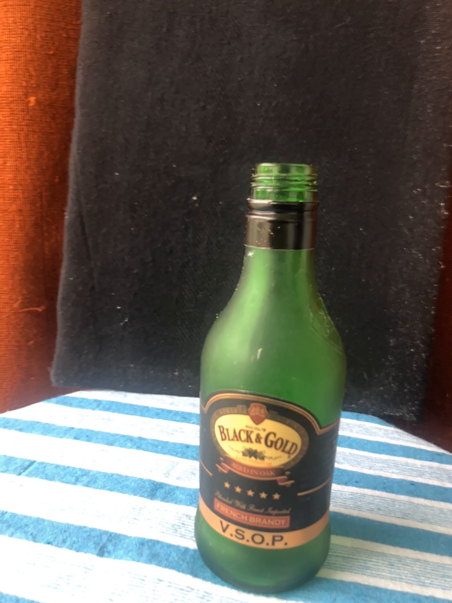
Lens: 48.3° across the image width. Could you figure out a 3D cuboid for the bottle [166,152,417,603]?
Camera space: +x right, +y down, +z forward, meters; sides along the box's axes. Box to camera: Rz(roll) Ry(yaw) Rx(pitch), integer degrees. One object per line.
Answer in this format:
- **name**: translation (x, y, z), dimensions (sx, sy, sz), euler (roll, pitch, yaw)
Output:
- **bottle**: translation (0.021, 0.023, 0.181), dimensions (0.060, 0.140, 0.060), euler (5, 13, -1)
